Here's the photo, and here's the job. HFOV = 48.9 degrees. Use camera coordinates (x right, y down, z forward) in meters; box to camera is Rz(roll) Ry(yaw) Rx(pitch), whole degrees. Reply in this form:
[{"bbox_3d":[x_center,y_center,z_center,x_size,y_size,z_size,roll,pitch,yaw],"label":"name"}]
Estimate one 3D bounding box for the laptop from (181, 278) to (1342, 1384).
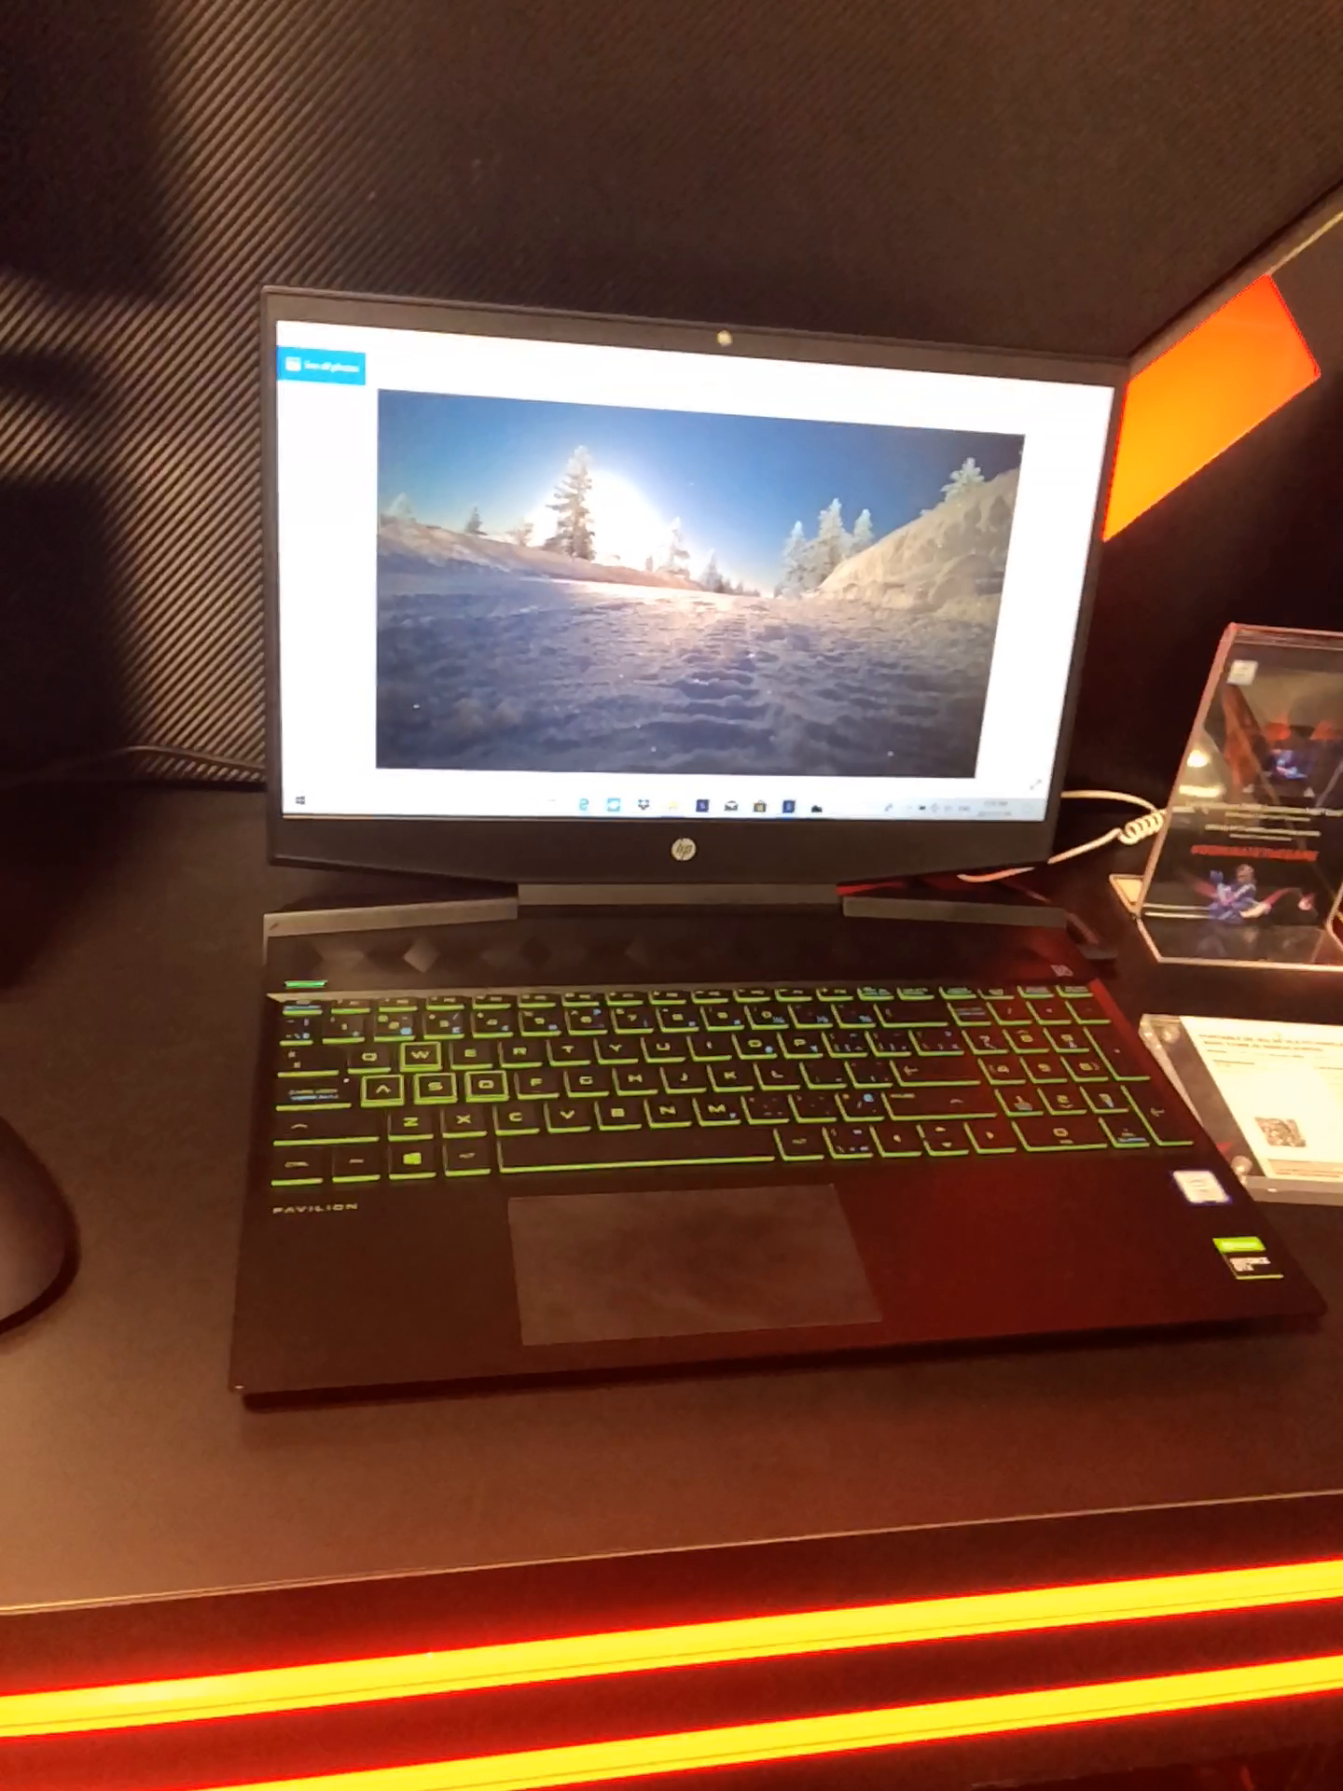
[{"bbox_3d":[0.033,-0.050,0.534,0.355,0.240,0.316,0,31,-11],"label":"laptop"}]
